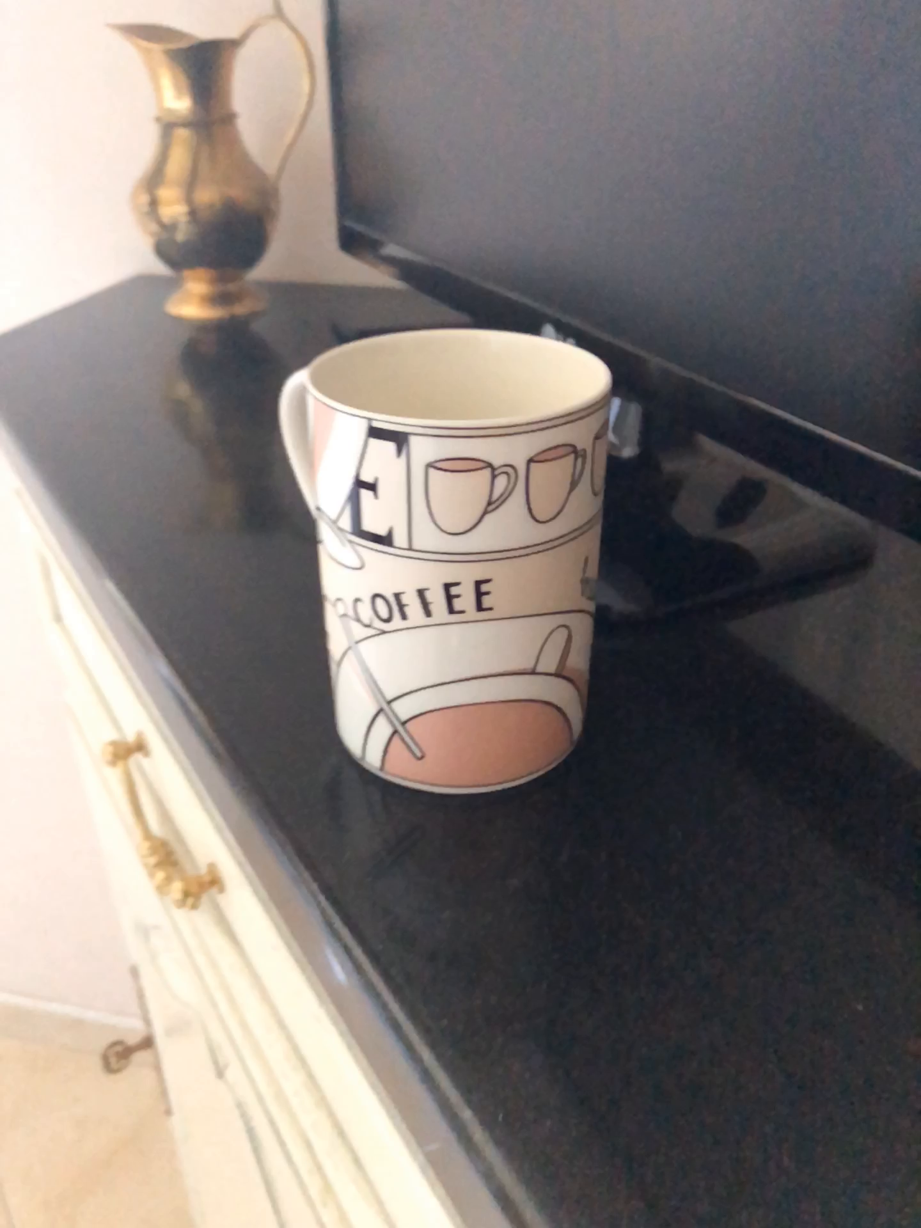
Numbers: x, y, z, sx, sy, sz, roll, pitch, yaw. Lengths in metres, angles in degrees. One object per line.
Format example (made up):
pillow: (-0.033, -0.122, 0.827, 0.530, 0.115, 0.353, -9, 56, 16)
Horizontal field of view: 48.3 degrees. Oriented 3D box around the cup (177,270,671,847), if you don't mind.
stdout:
cup: (-0.013, -0.023, 0.281, 0.070, 0.109, 0.110, -22, 37, -32)
